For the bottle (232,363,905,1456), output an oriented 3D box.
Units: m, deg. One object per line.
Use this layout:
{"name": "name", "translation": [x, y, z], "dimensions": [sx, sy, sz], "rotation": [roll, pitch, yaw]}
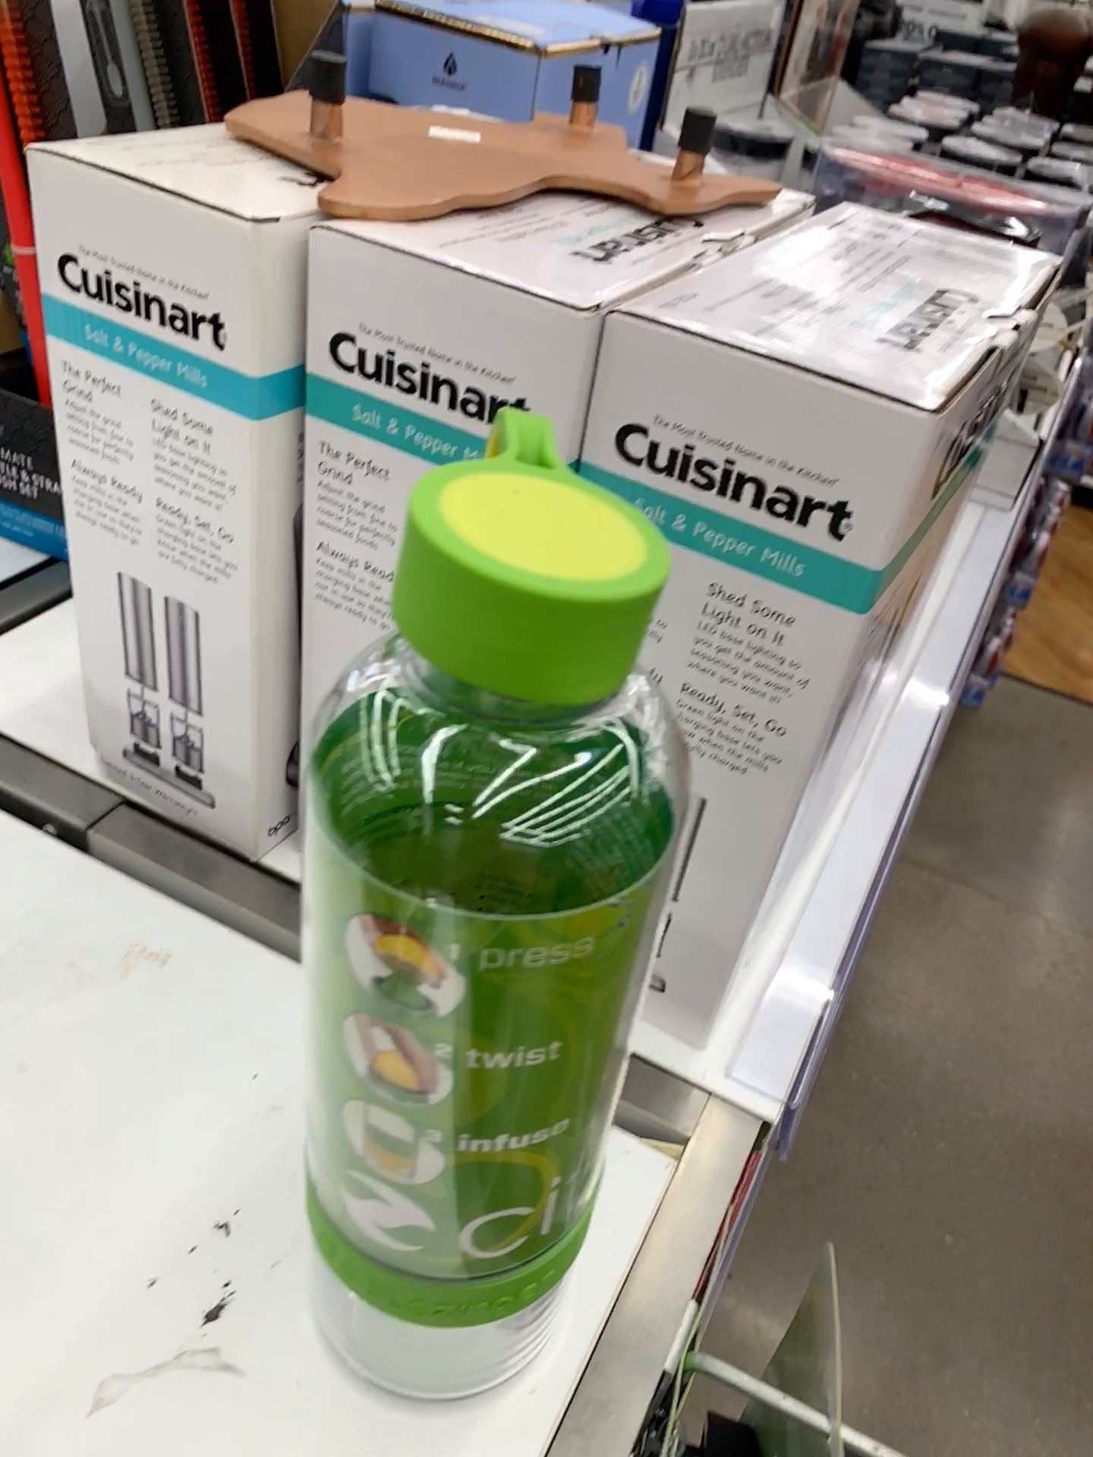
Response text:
{"name": "bottle", "translation": [-0.015, 0.058, 0.254], "dimensions": [0.078, 0.250, 0.081], "rotation": [6, 37, -5]}
